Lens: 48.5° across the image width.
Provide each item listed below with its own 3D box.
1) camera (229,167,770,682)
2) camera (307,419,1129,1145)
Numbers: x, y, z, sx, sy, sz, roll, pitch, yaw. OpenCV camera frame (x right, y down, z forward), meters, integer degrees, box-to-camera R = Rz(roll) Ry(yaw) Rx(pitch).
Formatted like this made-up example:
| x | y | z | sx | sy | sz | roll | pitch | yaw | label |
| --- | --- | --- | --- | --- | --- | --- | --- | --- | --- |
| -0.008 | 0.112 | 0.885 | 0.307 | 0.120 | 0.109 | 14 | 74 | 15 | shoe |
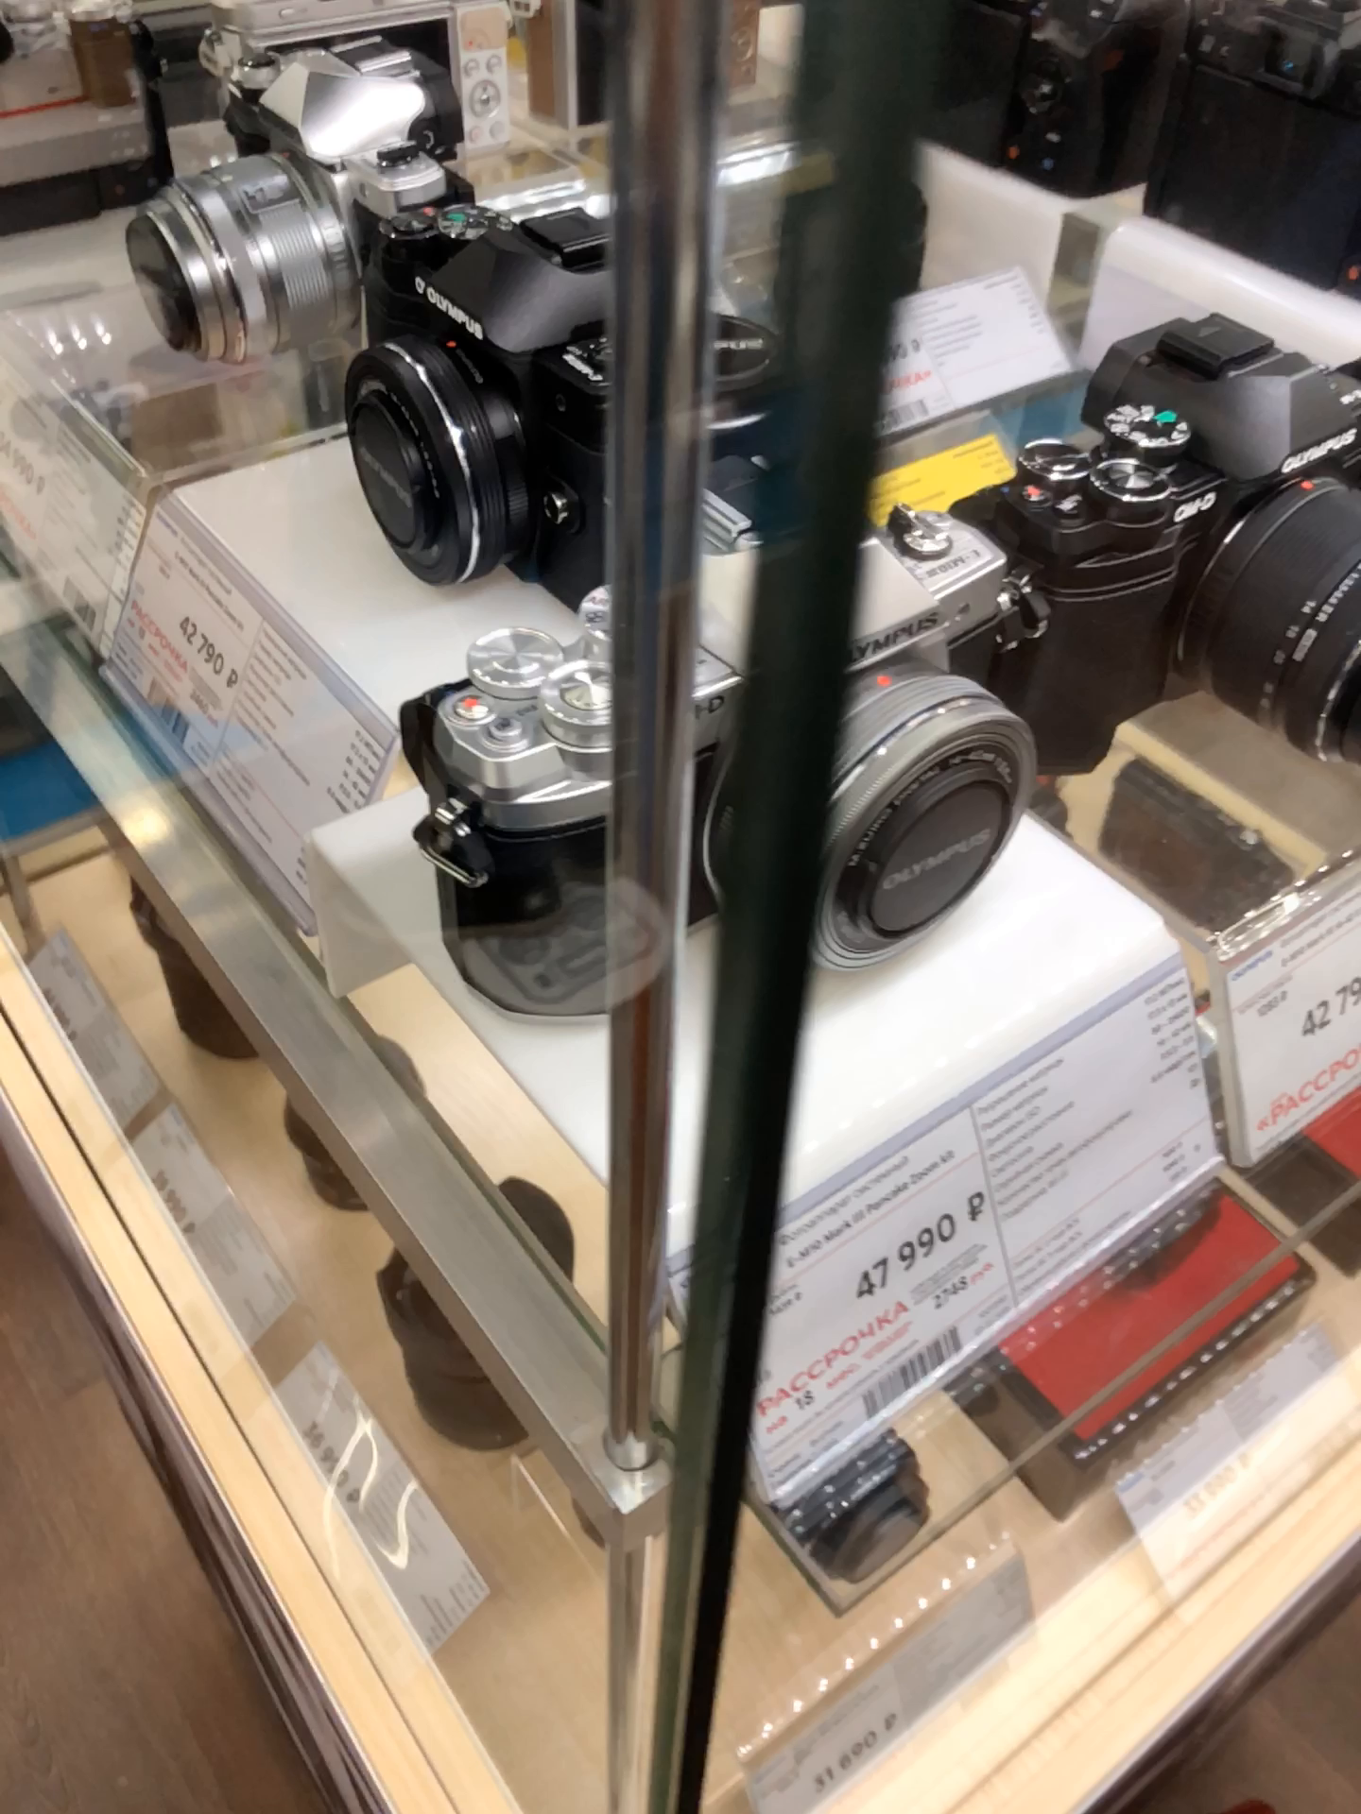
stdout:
| x | y | z | sx | sy | sz | roll | pitch | yaw | label |
| --- | --- | --- | --- | --- | --- | --- | --- | --- | --- |
| -0.045 | -0.122 | 0.370 | 0.078 | 0.068 | 0.109 | -26 | 51 | -27 | camera |
| 0.007 | -0.029 | 0.281 | 0.122 | 0.067 | 0.073 | -27 | 52 | -28 | camera |
